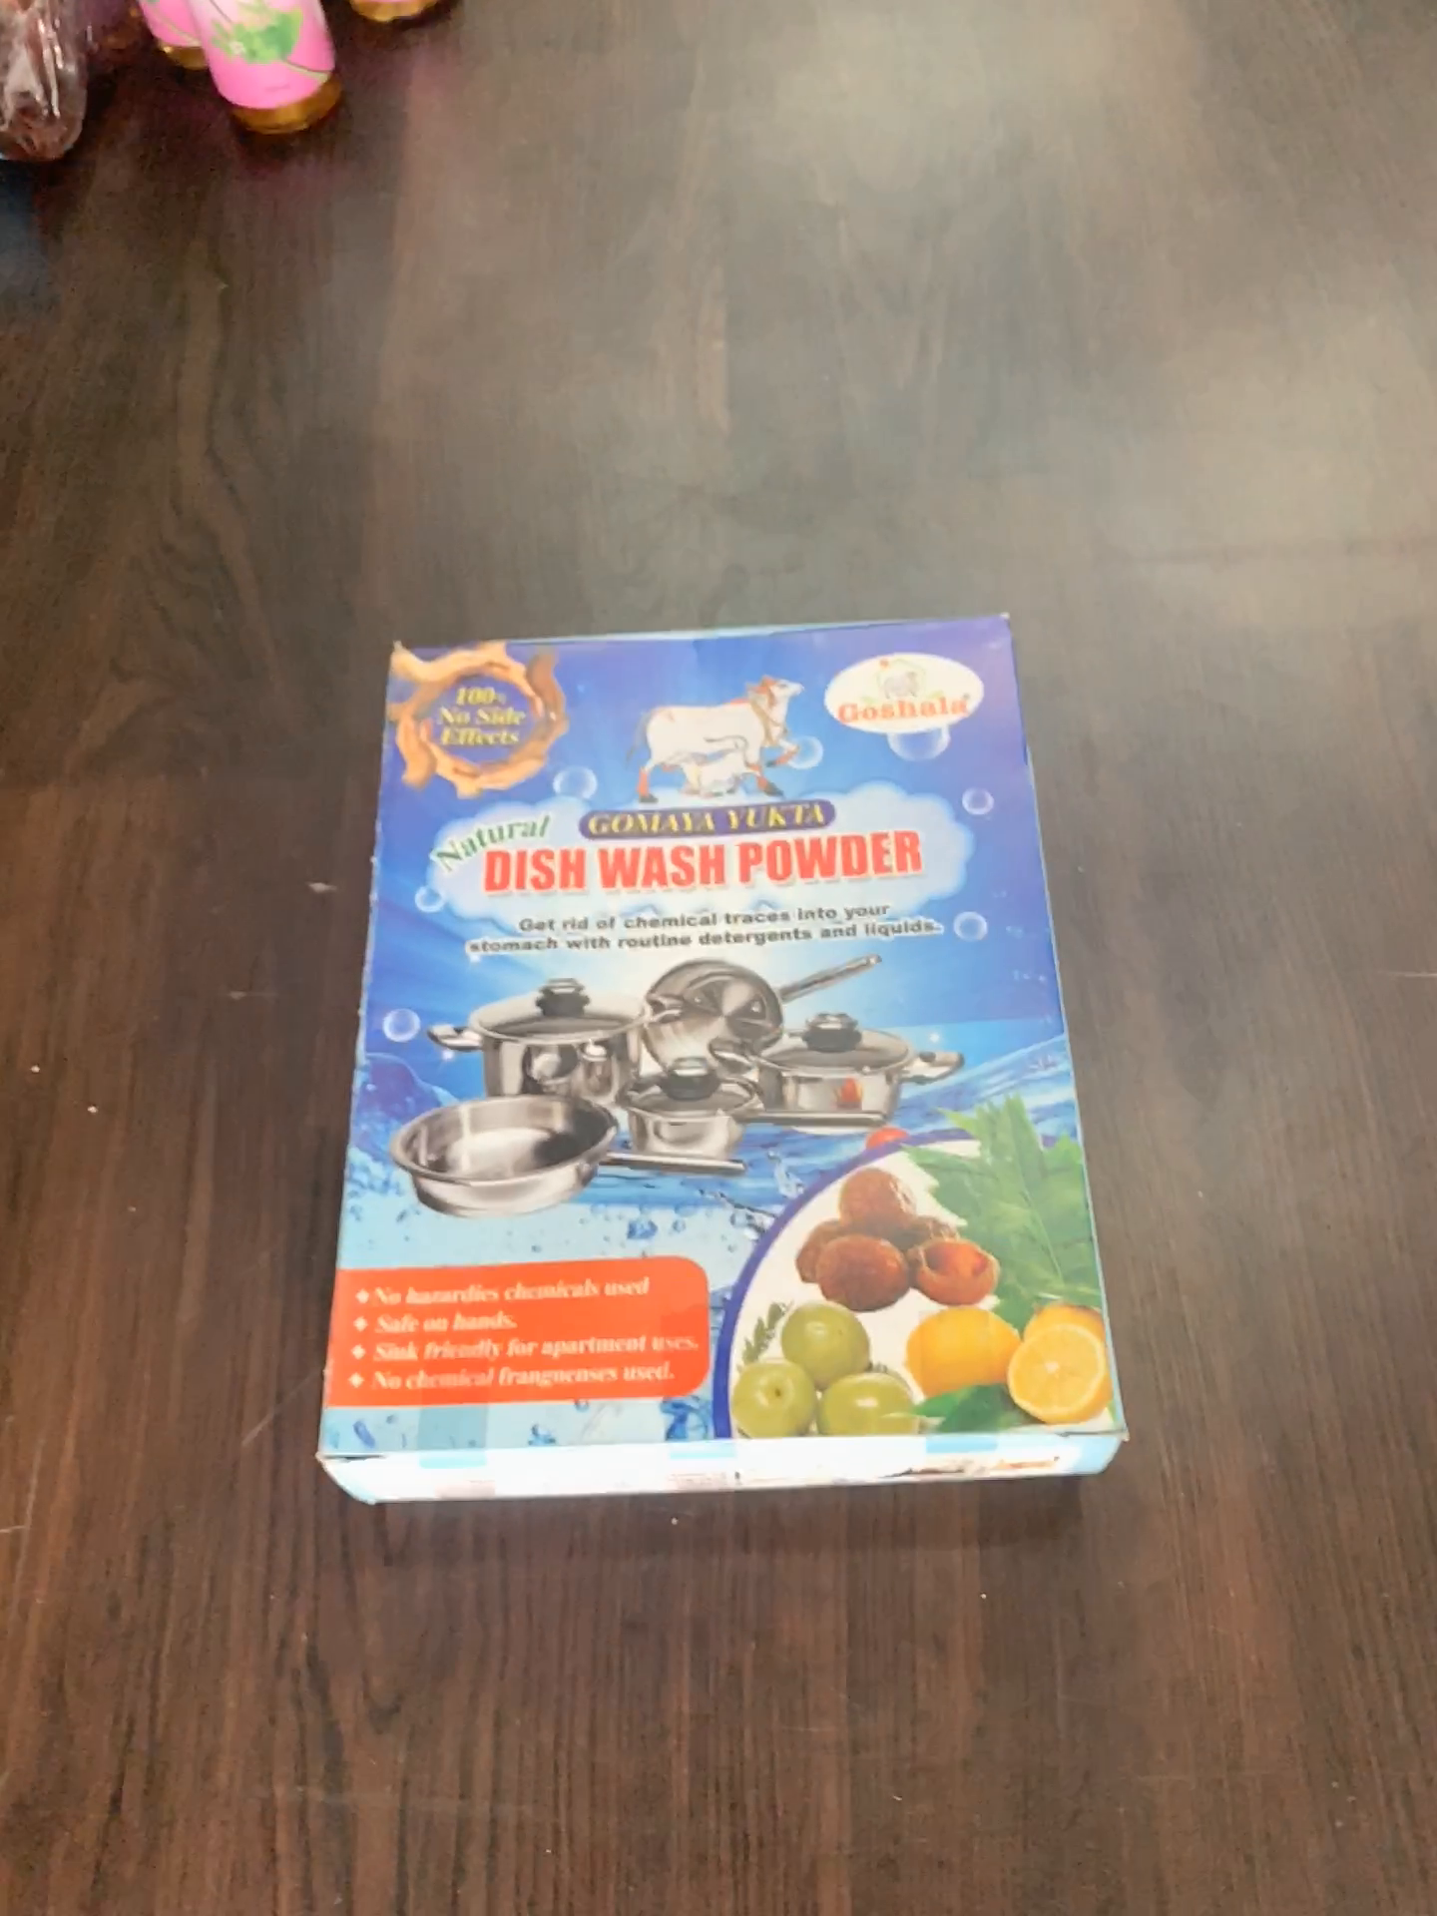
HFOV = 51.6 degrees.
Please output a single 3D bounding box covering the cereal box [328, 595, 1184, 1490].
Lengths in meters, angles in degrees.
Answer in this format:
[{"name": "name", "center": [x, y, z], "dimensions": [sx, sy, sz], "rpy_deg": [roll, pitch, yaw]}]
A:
[{"name": "cereal box", "center": [0.005, 0.014, 0.310], "dimensions": [0.140, 0.060, 0.170], "rpy_deg": [-3, 61, 3]}]
